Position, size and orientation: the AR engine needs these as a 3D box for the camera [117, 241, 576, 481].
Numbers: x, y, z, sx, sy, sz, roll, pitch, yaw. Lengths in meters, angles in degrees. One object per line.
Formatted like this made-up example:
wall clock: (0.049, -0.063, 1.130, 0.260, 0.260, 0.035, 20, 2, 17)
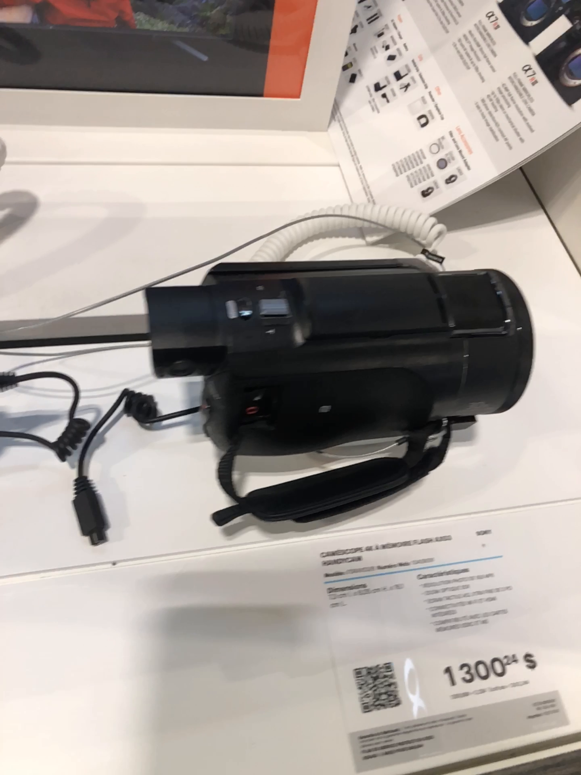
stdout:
camera: (0.018, -0.013, 0.272, 0.168, 0.066, 0.061, -5, 57, -14)
